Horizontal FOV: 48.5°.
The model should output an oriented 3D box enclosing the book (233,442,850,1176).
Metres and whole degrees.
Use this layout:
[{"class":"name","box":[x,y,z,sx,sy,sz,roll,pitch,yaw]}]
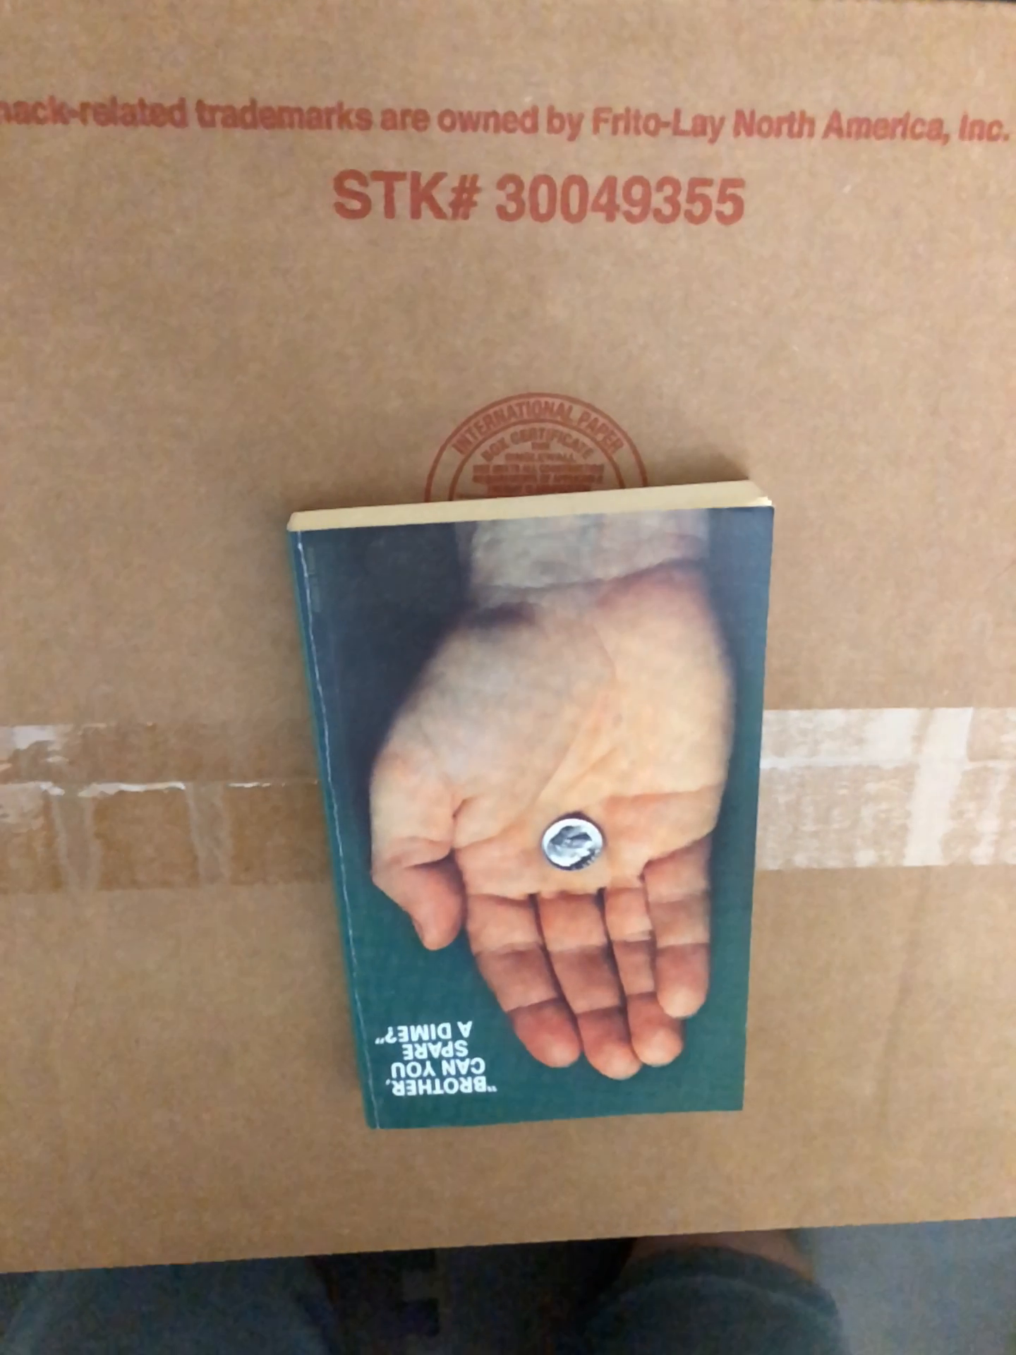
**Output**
[{"class":"book","box":[0.011,0.040,0.266,0.120,0.020,0.180,-4,115,-2]}]
